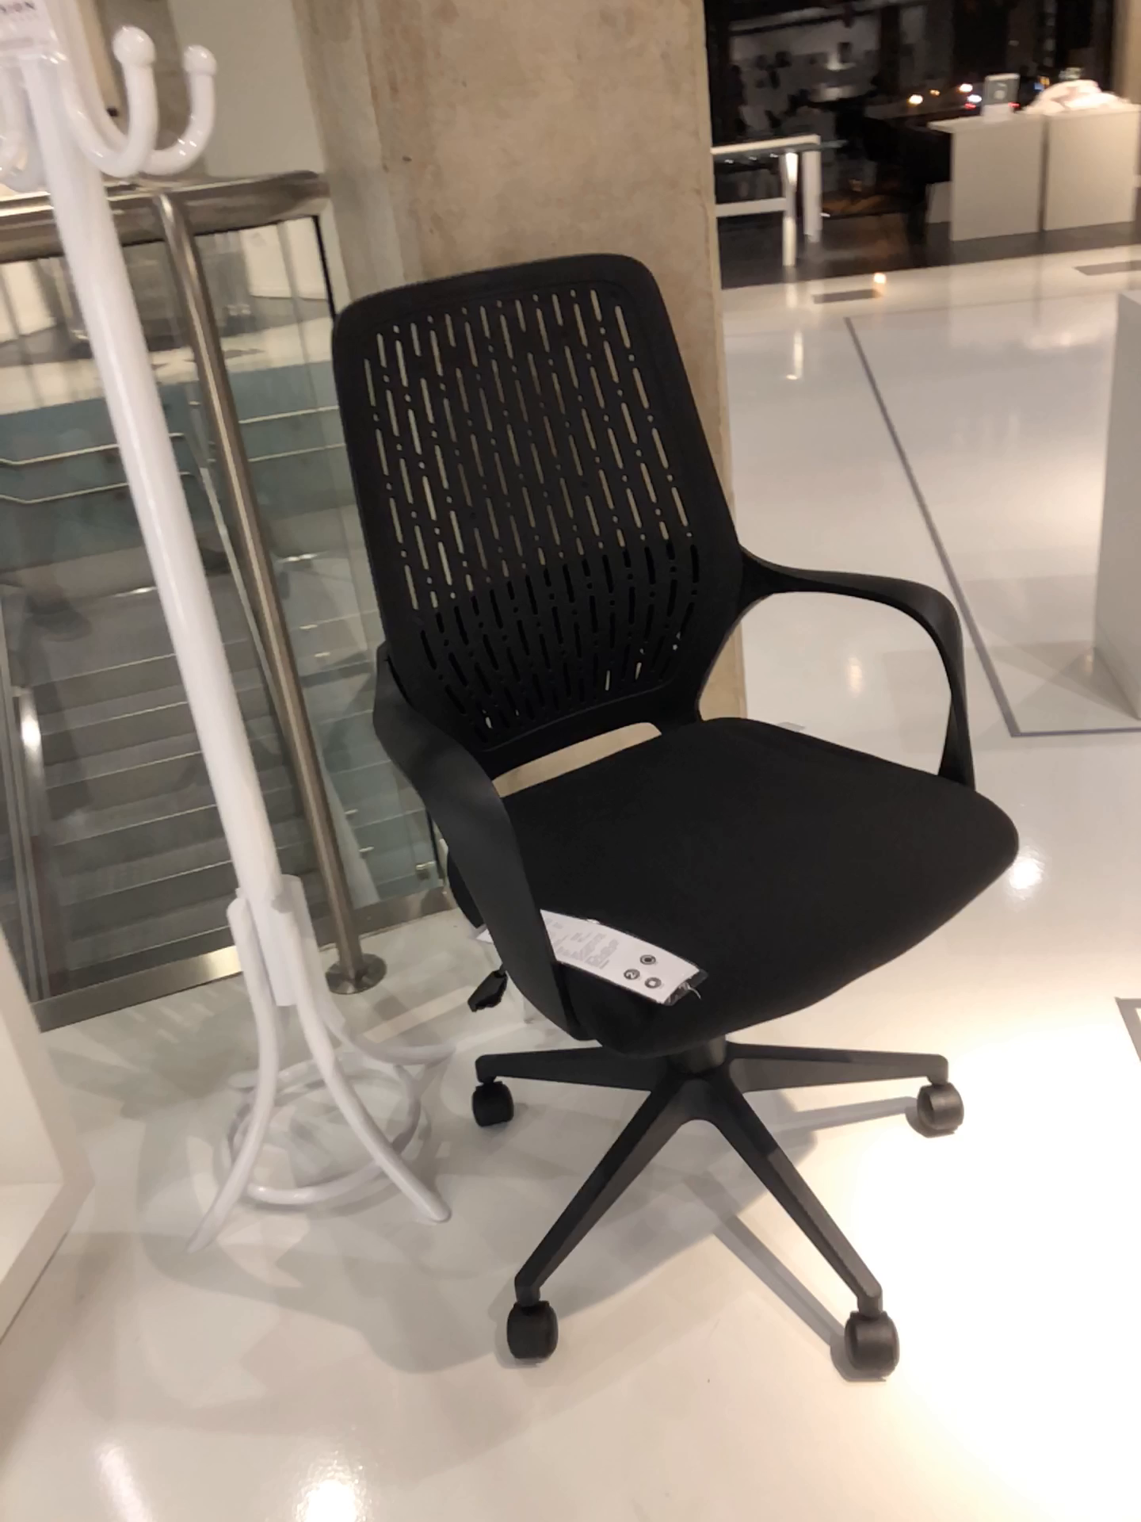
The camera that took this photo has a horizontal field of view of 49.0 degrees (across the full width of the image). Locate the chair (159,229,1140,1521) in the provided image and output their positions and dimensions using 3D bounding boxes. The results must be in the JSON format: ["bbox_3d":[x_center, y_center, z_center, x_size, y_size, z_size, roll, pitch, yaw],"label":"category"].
[{"bbox_3d":[0.102,0.046,1.304,0.641,1.023,0.704,-20,29,-23],"label":"chair"}]
